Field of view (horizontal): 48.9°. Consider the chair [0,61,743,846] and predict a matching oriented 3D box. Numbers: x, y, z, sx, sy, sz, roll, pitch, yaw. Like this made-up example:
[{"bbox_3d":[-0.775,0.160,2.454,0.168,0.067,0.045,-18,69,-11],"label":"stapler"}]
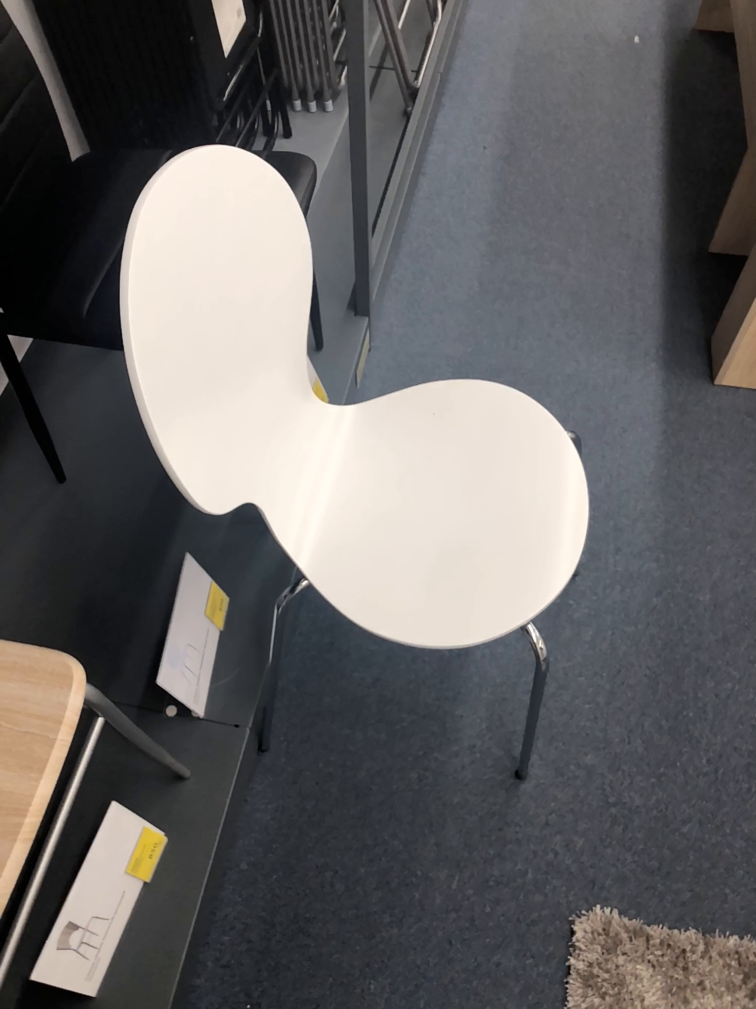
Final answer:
[{"bbox_3d":[0.002,-0.002,1.137,0.640,0.818,0.561,15,58,10],"label":"chair"}]
